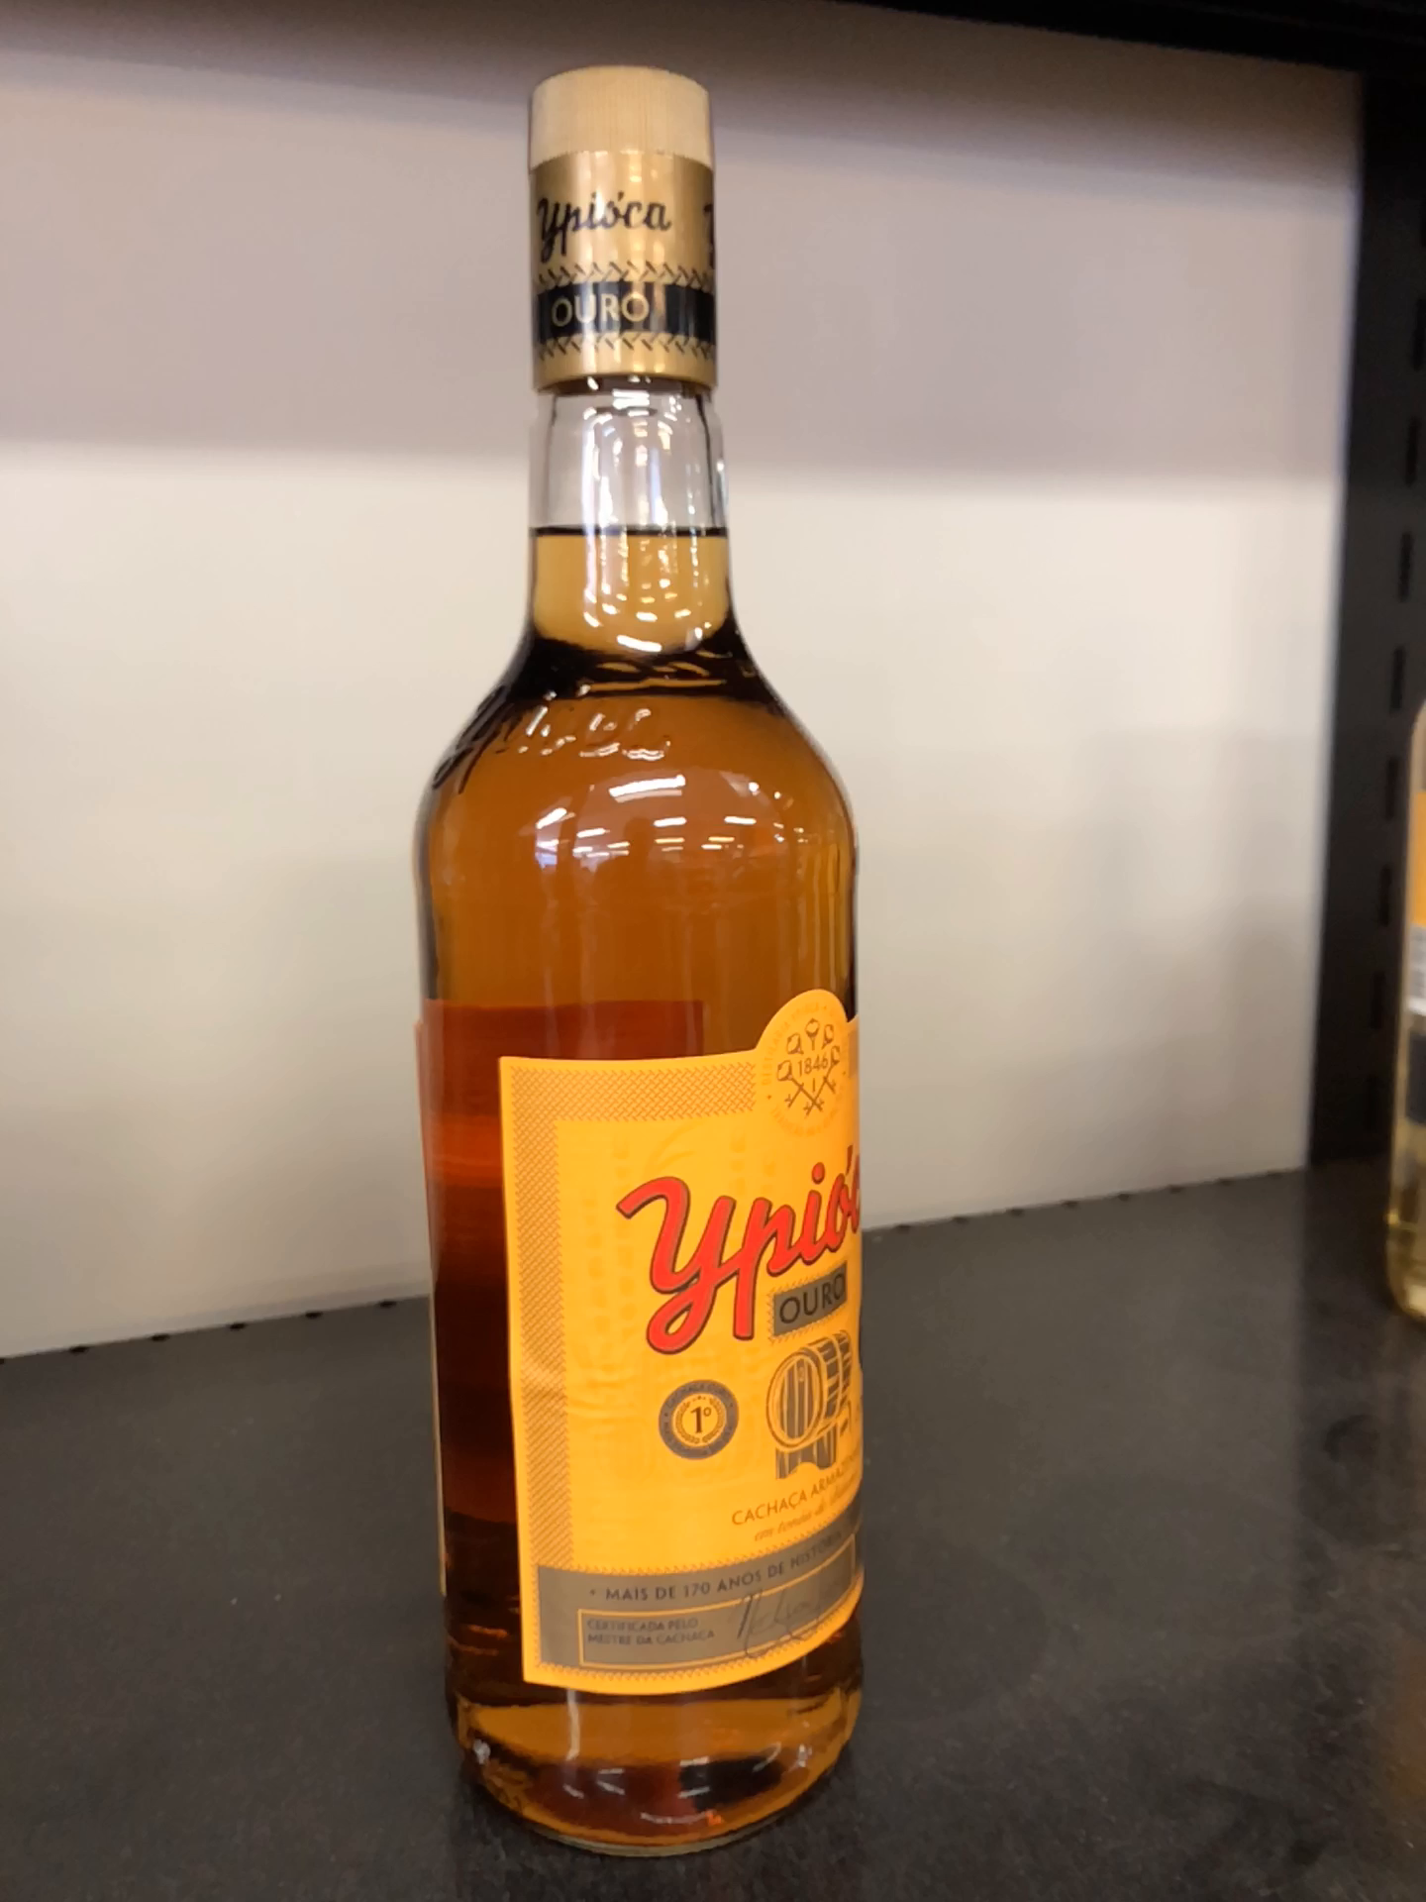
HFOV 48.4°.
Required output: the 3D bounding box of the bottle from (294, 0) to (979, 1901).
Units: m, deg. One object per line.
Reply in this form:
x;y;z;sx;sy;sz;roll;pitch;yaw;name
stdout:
-0.012;0.006;0.274;0.070;0.309;0.080;10;14;42;bottle
